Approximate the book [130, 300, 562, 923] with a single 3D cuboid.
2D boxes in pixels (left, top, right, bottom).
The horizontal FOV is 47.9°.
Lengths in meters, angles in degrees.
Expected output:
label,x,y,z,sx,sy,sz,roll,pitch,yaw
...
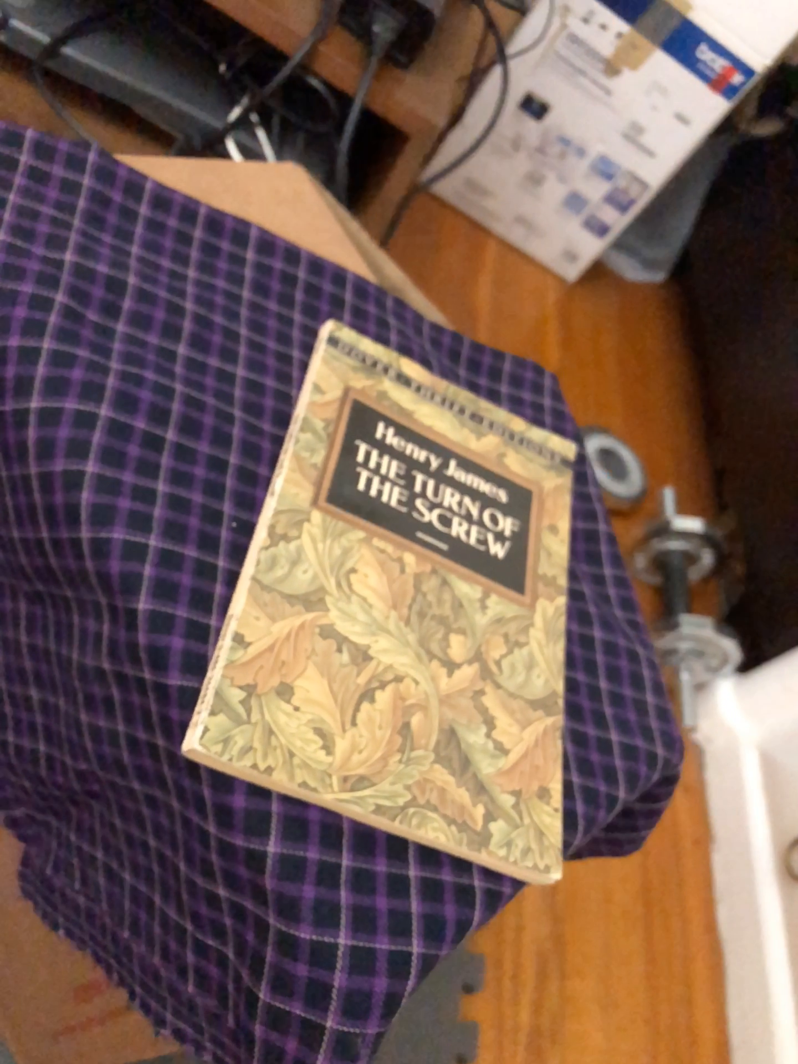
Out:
label,x,y,z,sx,sy,sz,roll,pitch,yaw
book,0.001,0.015,0.341,0.140,0.010,0.221,25,48,-18
